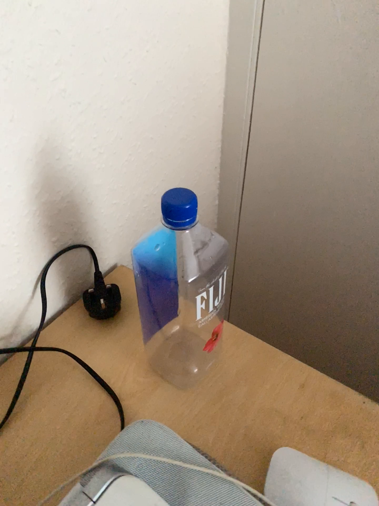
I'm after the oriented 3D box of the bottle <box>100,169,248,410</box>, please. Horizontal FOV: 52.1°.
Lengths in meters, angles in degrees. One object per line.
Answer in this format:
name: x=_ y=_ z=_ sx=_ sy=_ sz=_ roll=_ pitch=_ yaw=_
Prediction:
bottle: x=-0.010 y=0.041 z=0.376 sx=0.080 sy=0.208 sz=0.091 roll=25 pitch=46 yaw=27
